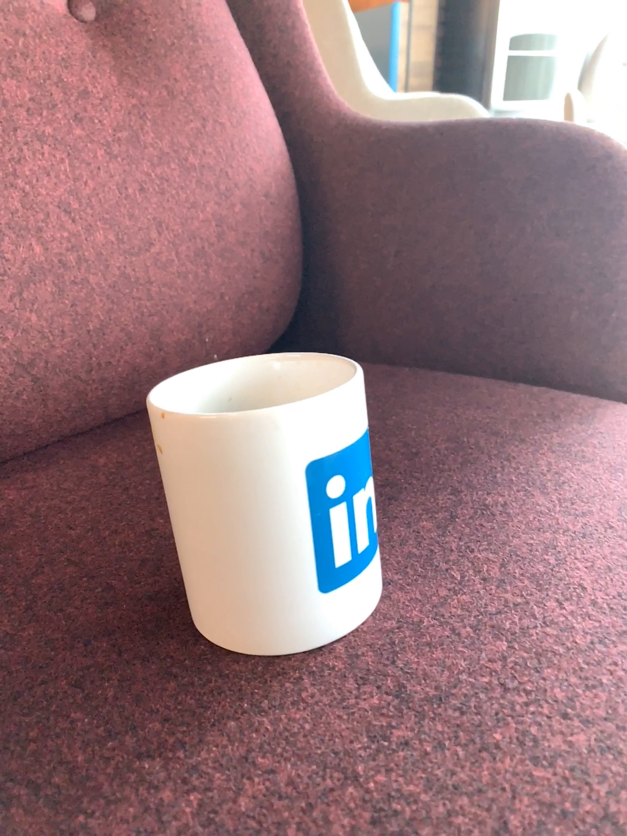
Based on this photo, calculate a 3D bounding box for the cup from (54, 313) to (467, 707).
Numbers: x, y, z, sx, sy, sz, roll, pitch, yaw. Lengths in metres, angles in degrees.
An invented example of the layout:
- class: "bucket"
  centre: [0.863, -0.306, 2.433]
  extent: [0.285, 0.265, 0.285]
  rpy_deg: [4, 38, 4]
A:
- class: "cup"
  centre: [-0.012, 0.019, 0.253]
  extent: [0.090, 0.089, 0.121]
  rpy_deg: [9, 26, 39]
